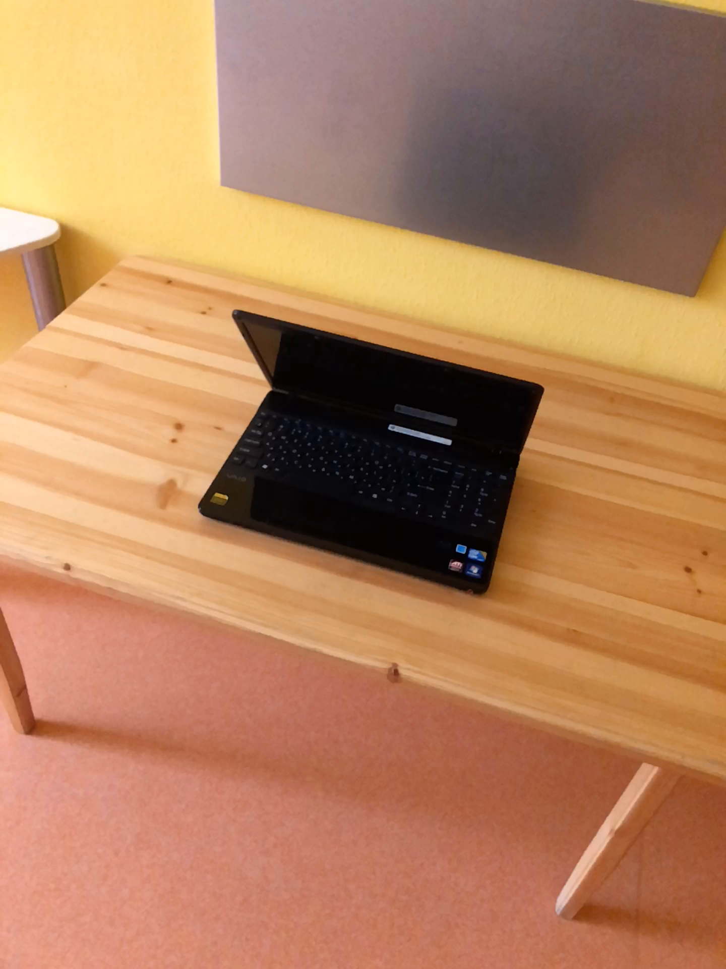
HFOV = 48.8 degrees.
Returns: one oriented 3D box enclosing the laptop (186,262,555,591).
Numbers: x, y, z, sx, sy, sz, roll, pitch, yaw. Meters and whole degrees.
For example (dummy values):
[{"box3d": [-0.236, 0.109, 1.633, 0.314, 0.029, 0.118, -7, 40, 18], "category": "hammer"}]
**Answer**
[{"box3d": [0.013, -0.079, 0.971, 0.361, 0.200, 0.249, 15, 45, 9], "category": "laptop"}]
